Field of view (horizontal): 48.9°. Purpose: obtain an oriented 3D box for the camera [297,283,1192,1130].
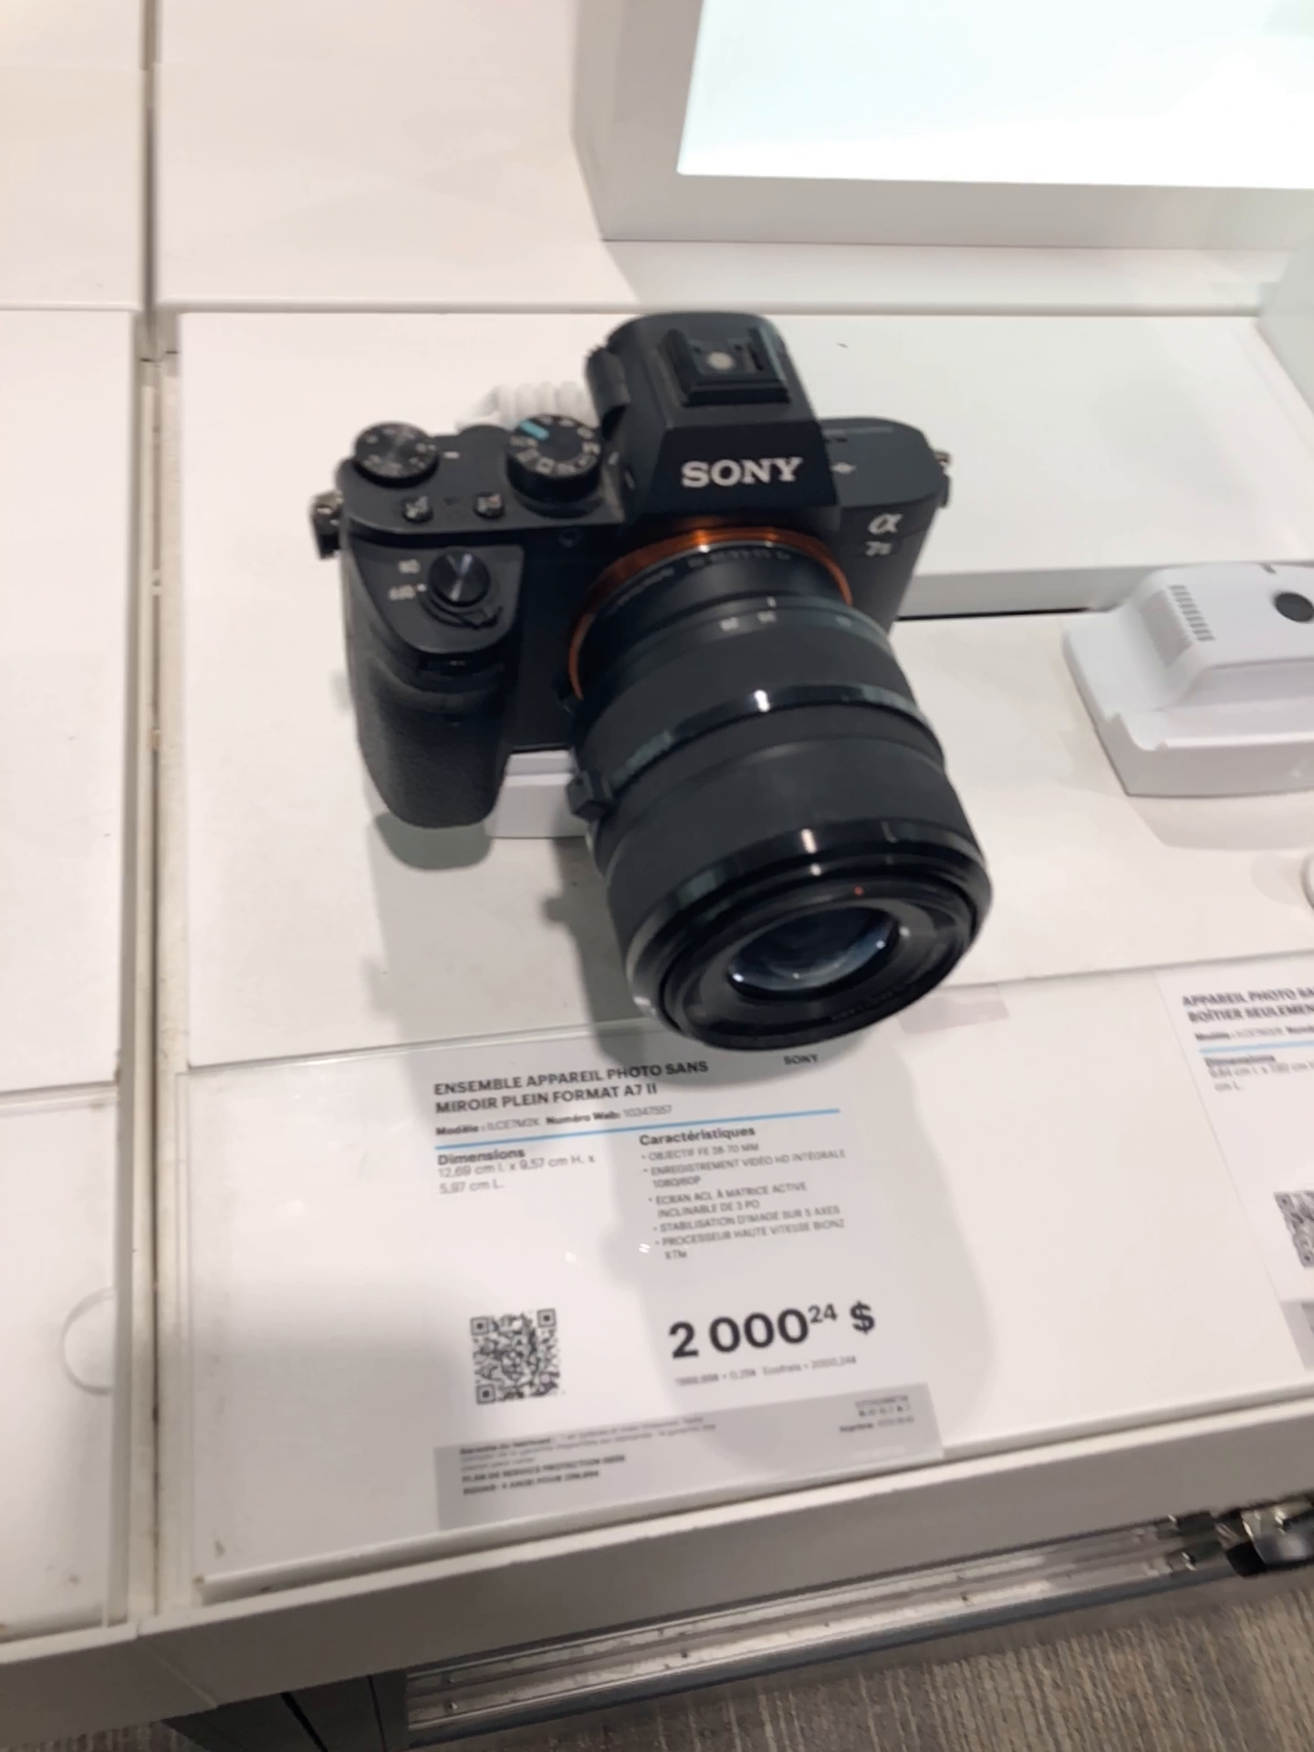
[{"bbox_3d":[0.003,-0.038,0.300,0.134,0.099,0.131,-7,57,-14],"label":"camera"}]
